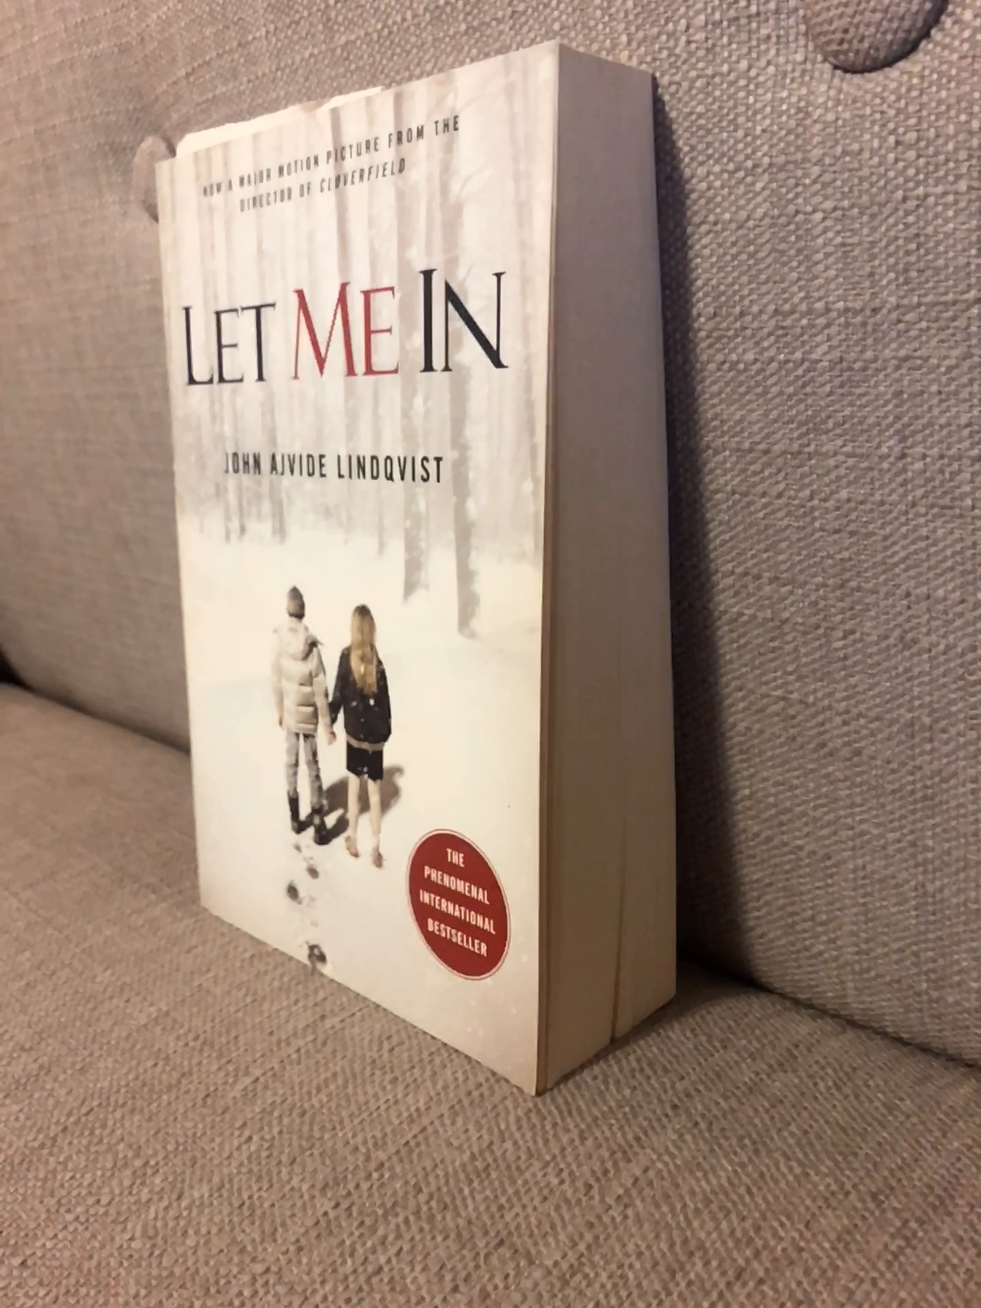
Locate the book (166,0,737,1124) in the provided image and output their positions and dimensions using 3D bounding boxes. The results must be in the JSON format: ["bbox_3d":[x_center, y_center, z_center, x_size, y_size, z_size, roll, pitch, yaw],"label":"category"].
[{"bbox_3d":[-0.021,-0.024,0.271,0.043,0.216,0.147,-9,14,-44],"label":"book"}]
